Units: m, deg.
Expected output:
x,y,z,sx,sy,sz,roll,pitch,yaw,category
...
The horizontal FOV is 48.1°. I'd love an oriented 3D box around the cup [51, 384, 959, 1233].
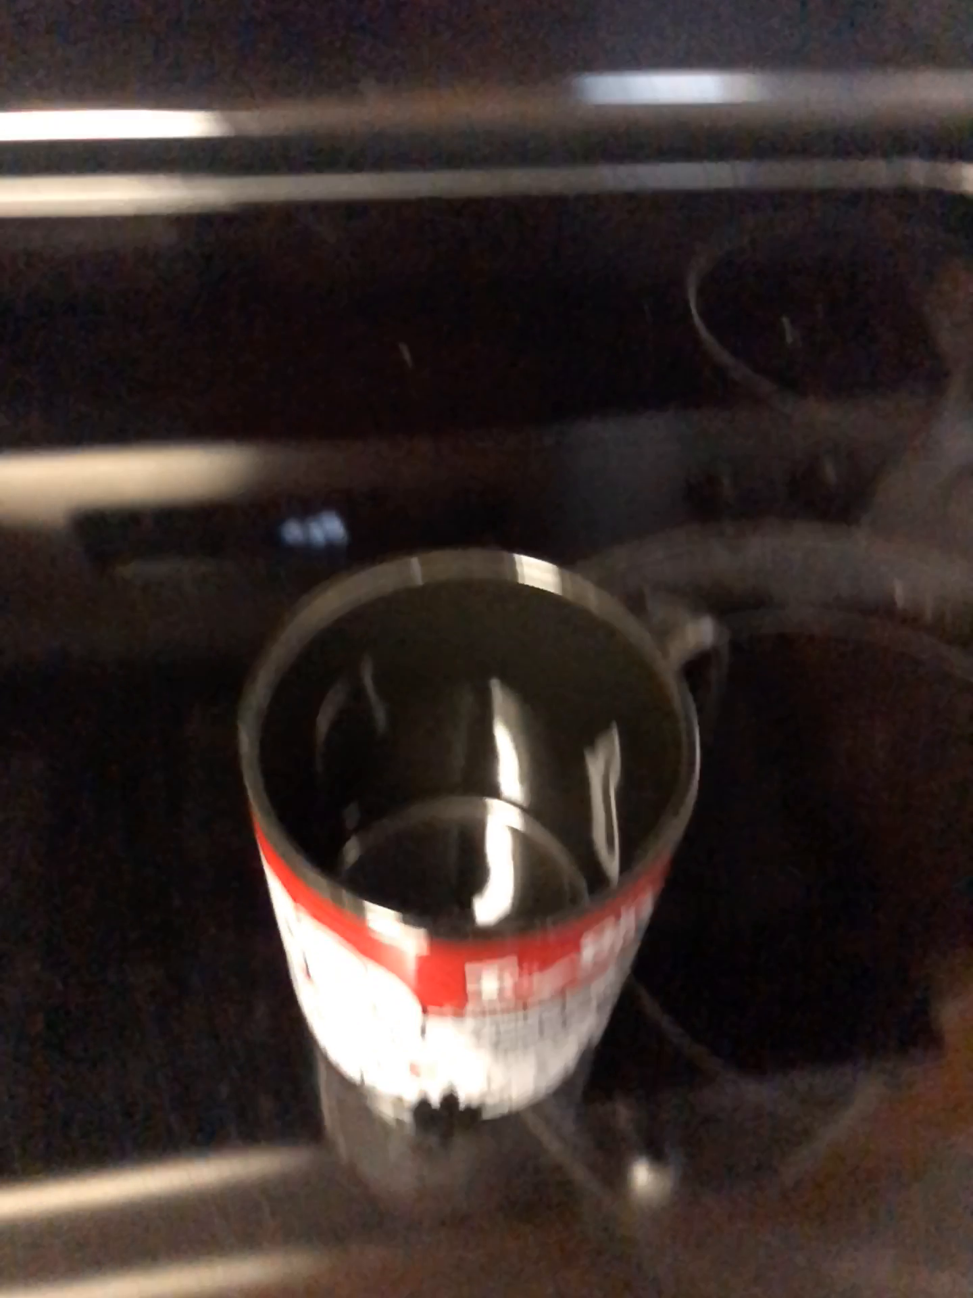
x,y,z,sx,sy,sz,roll,pitch,yaw,category
0.003,0.028,0.224,0.130,0.090,0.090,-28,58,-24,cup
